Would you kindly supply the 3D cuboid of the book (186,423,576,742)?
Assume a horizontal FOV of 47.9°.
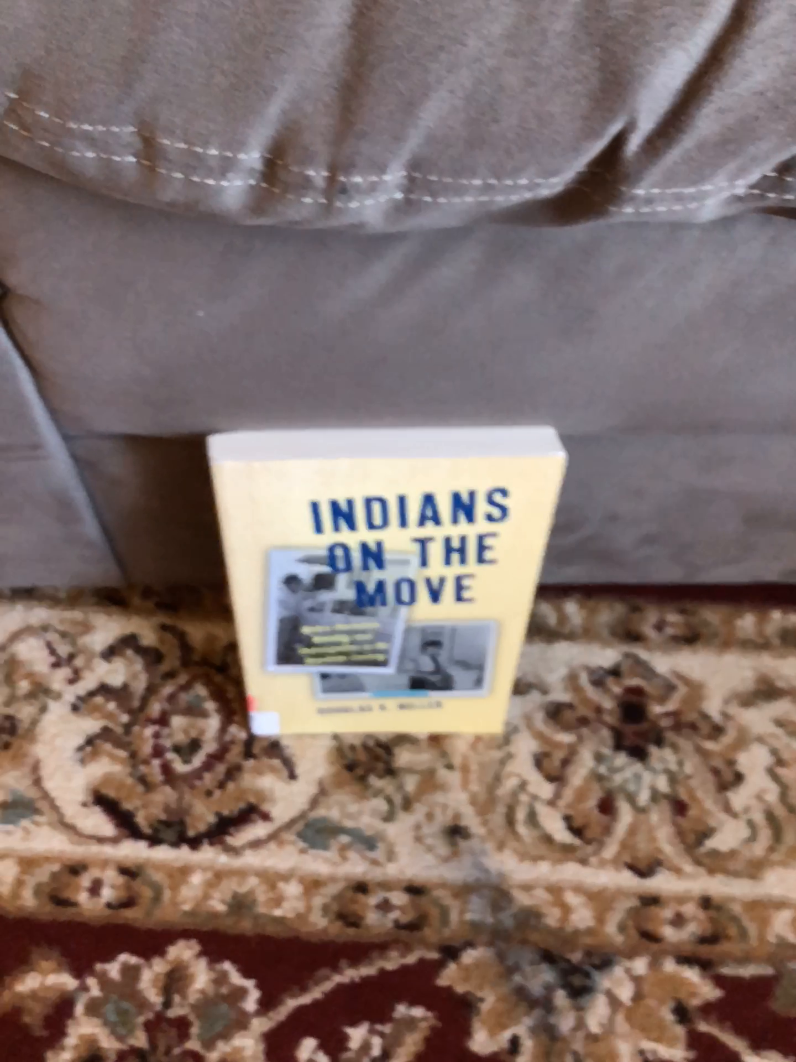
[{"bbox_3d":[-0.008,0.040,0.465,0.160,0.230,0.030,0,49,-1],"label":"book"}]
